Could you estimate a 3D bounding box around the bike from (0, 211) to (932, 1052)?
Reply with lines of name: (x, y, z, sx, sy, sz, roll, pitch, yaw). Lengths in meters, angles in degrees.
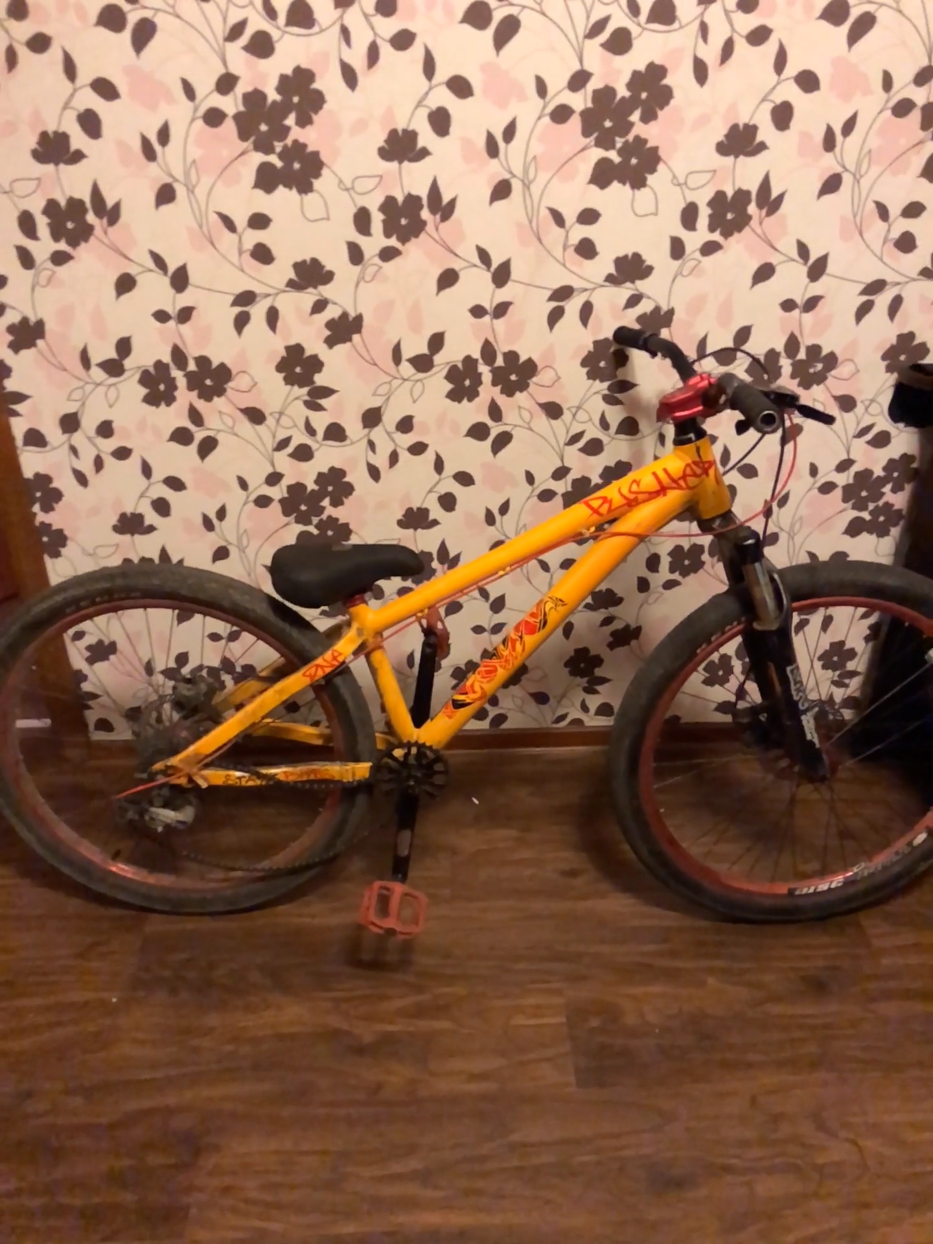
bike: (0.018, 0.025, 1.581, 1.675, 1.005, 0.664, -3, 31, 2)
